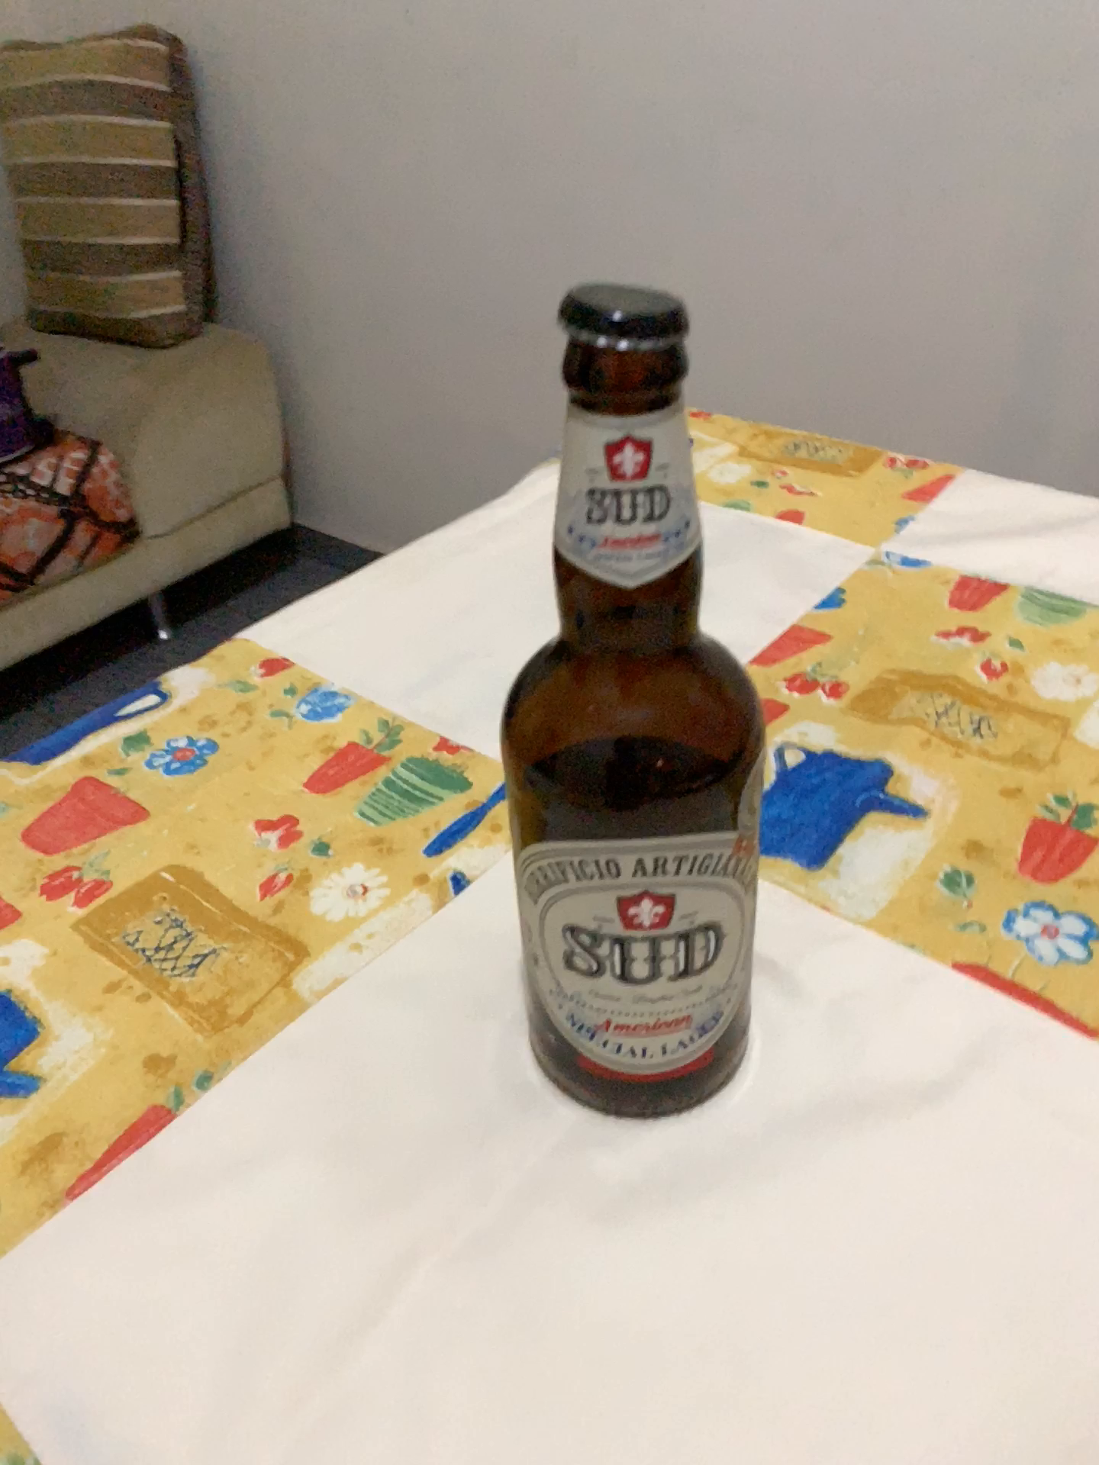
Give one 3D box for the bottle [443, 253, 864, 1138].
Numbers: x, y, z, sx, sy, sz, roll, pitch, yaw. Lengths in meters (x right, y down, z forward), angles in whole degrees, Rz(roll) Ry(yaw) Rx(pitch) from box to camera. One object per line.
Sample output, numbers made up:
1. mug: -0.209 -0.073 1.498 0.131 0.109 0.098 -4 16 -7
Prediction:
1. bottle: 0.024 0.005 0.310 0.080 0.239 0.070 -4 35 -1
